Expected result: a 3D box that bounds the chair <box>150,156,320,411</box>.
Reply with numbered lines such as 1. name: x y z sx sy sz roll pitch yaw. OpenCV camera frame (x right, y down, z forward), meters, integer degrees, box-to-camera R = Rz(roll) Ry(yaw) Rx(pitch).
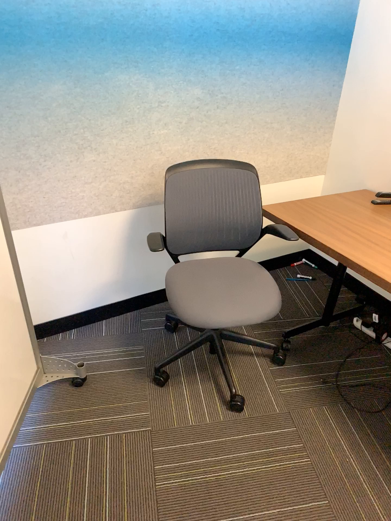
1. chair: 0.095 0.084 1.733 0.540 0.935 0.533 -2 28 -8
